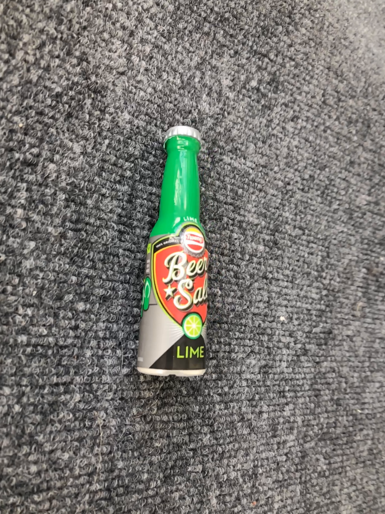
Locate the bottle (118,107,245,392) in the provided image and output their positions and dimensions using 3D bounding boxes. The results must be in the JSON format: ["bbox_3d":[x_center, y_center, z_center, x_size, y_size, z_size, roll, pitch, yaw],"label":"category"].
[{"bbox_3d":[-0.003,-0.002,0.173,0.033,0.030,0.101,10,80,-39],"label":"bottle"}]
